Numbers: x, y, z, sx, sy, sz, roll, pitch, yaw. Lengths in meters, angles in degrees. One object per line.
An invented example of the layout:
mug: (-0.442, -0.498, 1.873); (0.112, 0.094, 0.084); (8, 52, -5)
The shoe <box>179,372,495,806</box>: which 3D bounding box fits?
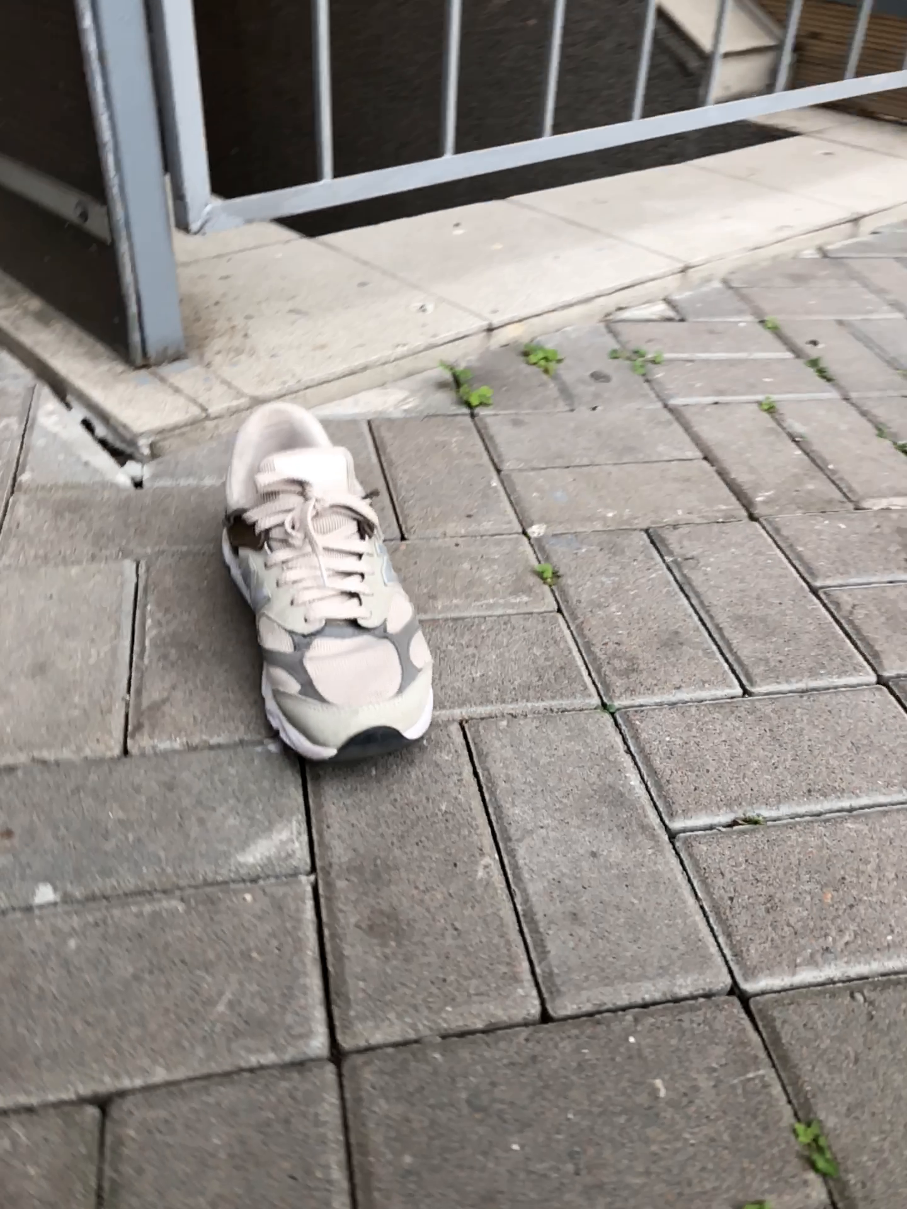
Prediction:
shoe: (-0.088, -0.031, 0.640); (0.120, 0.109, 0.302); (-11, 39, -17)
